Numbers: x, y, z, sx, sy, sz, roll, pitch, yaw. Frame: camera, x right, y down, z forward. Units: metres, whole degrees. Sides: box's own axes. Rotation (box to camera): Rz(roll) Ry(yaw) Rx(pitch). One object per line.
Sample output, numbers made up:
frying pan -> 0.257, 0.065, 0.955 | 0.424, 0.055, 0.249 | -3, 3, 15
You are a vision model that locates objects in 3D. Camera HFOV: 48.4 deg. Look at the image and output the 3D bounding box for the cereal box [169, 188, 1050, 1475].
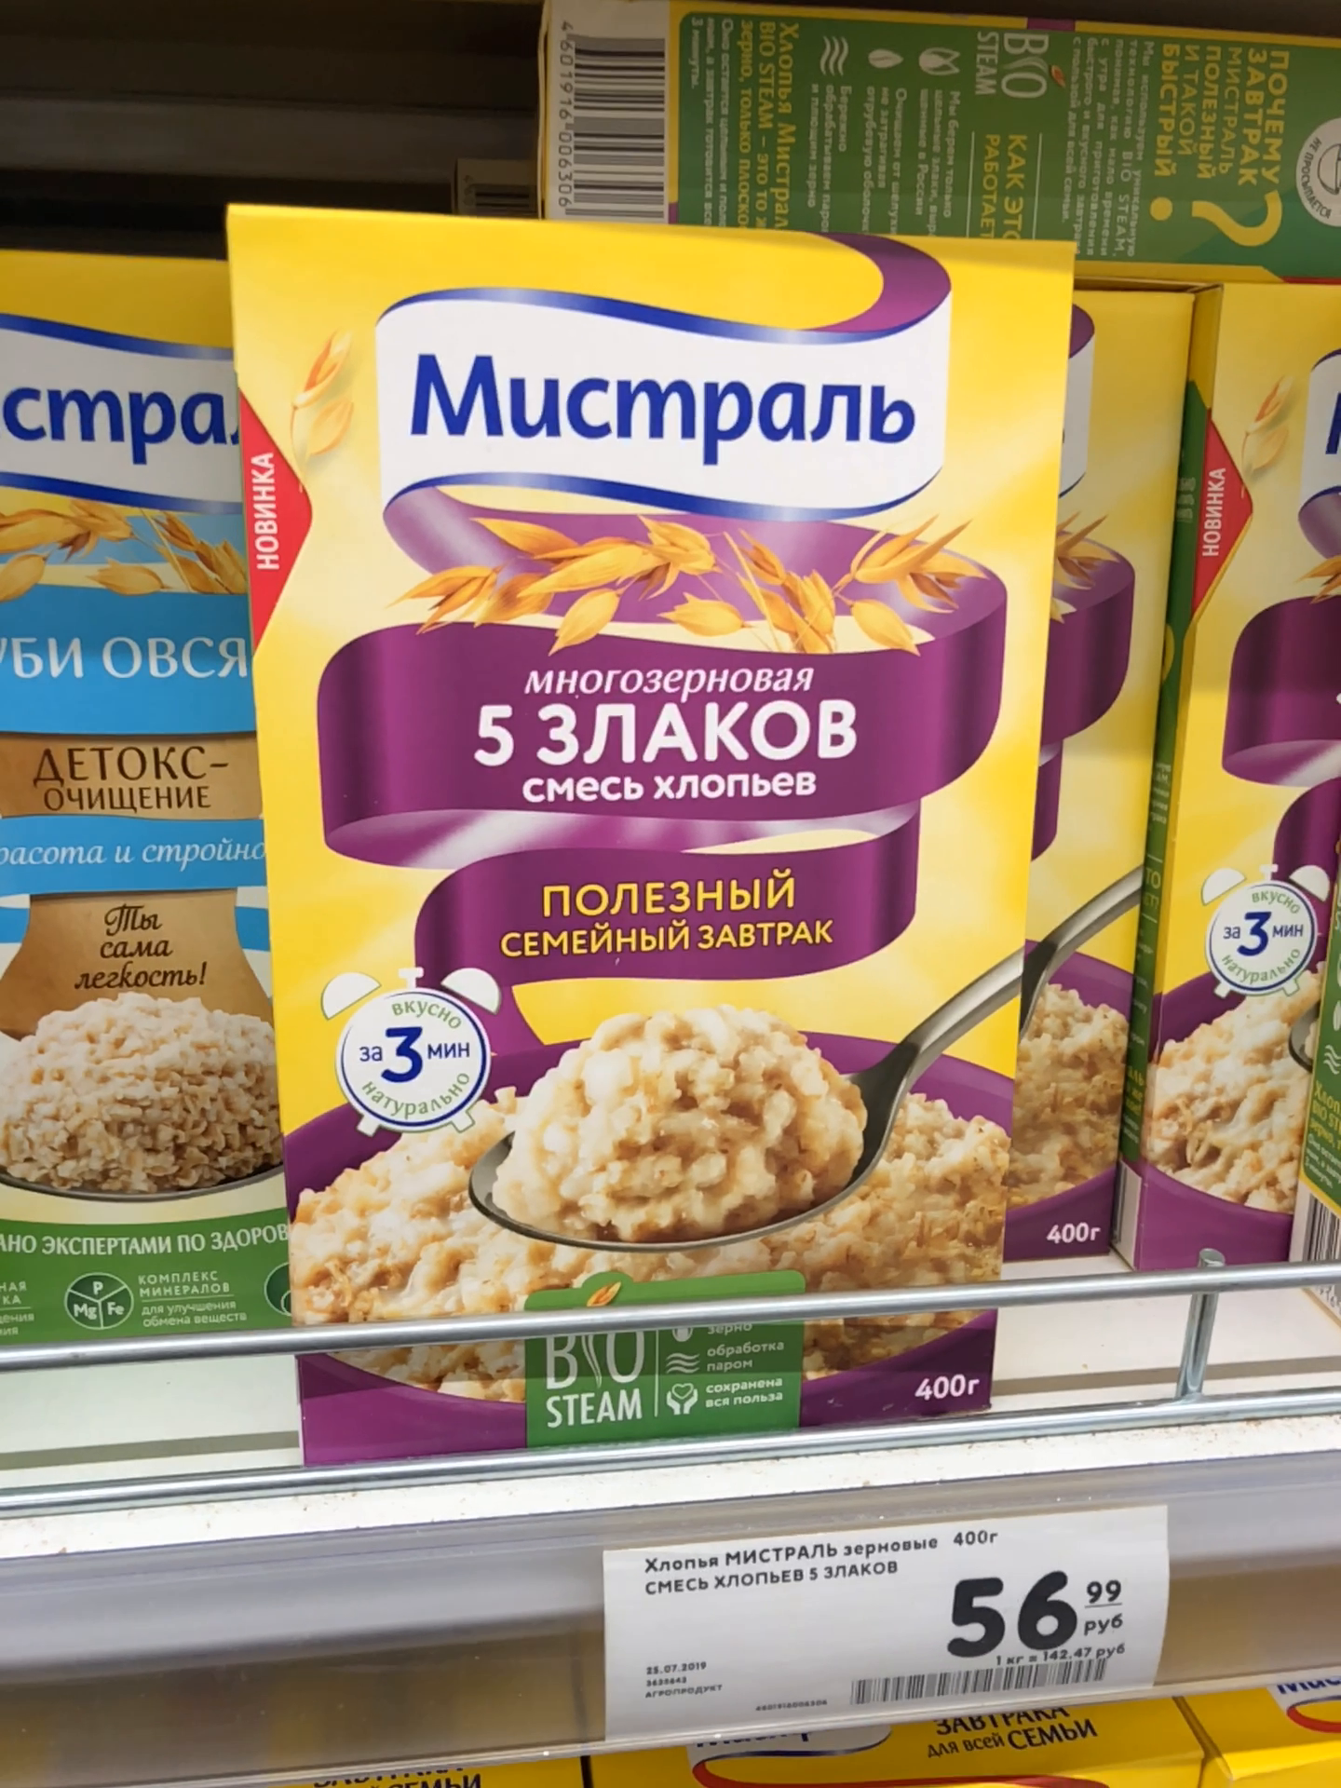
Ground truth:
cereal box -> -0.010, -0.008, 0.270 | 0.130, 0.209, 0.050 | -2, 15, -9
